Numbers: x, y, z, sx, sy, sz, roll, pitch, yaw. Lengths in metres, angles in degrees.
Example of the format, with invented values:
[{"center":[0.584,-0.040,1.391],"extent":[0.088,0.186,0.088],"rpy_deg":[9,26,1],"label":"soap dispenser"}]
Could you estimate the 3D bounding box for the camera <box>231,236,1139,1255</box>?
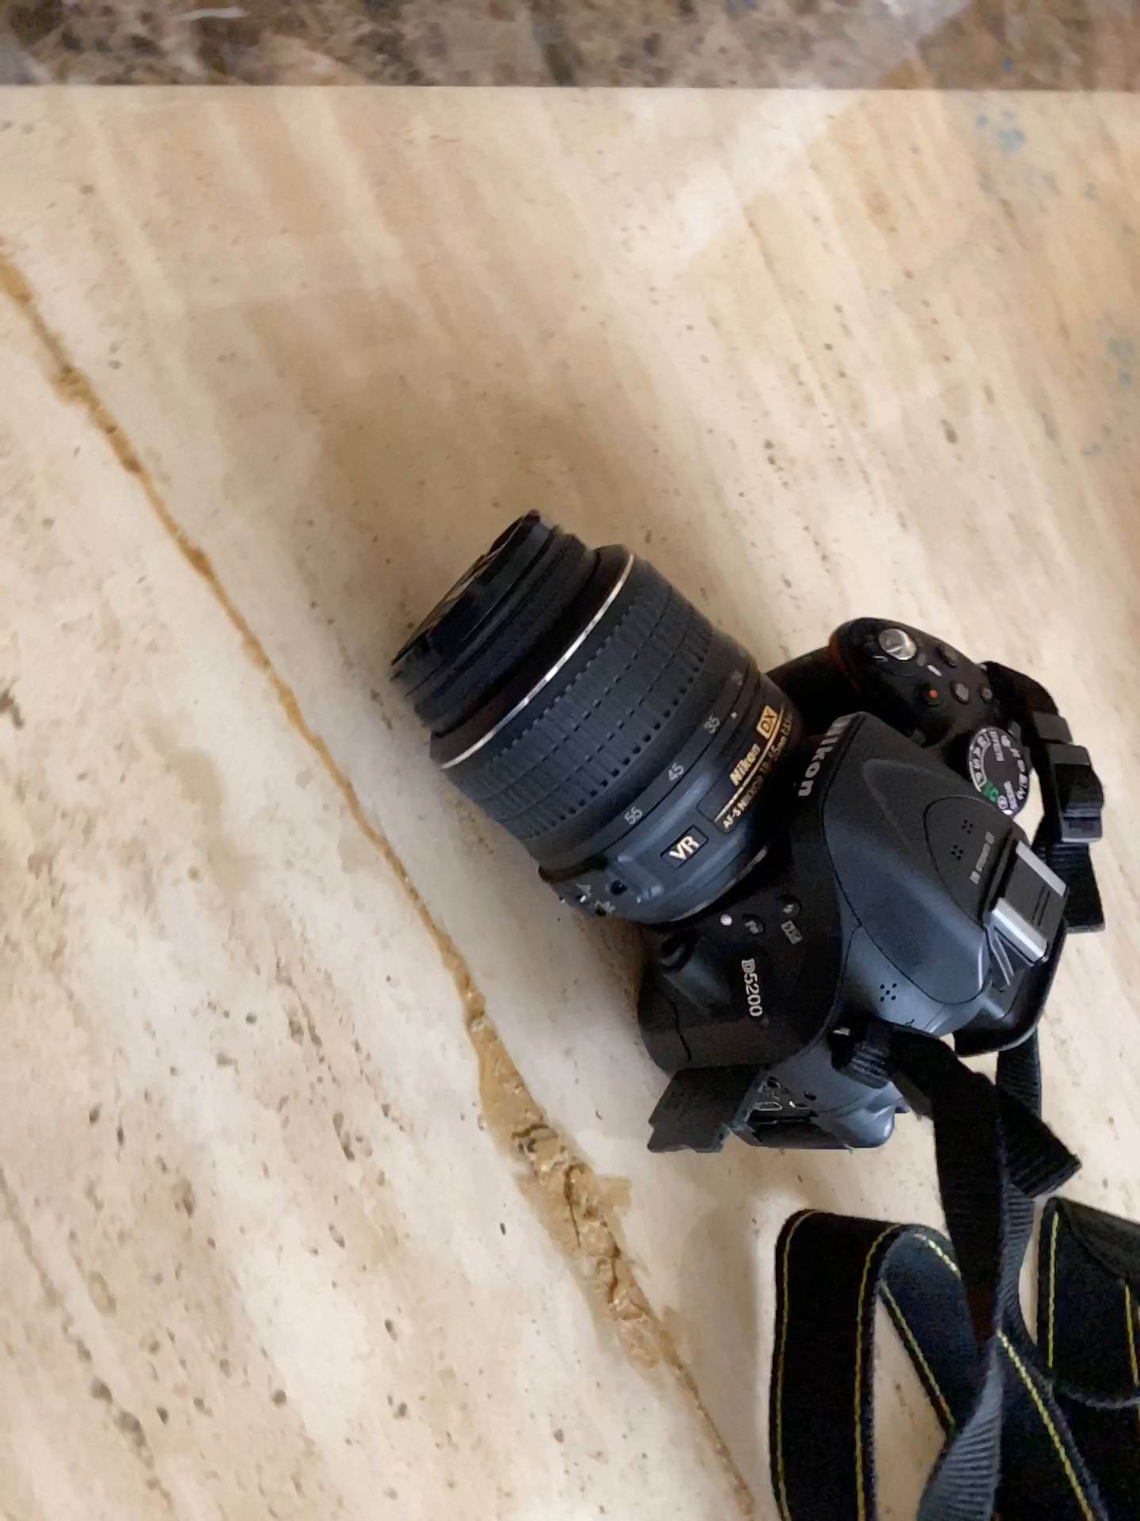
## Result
[{"center":[0.042,0.001,0.286],"extent":[0.159,0.100,0.152],"rpy_deg":[42,57,-17],"label":"camera"}]
